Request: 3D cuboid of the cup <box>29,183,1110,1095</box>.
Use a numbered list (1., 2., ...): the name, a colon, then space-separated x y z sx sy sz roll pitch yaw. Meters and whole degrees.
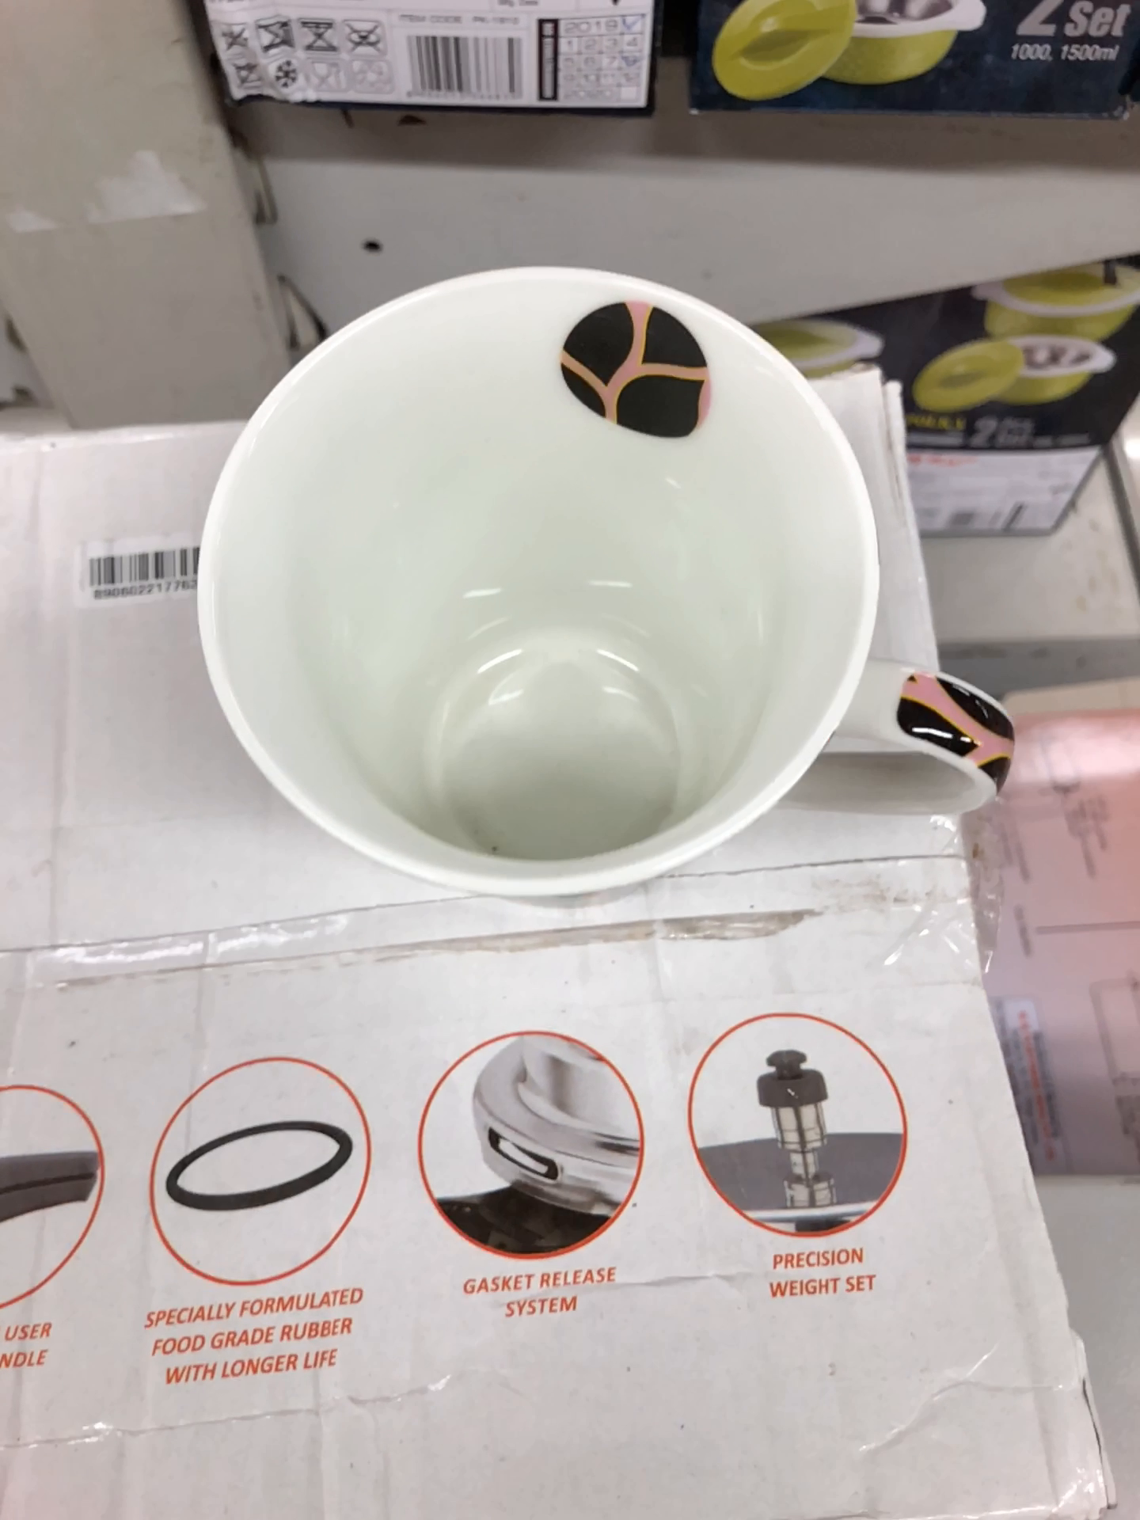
1. cup: 0.005 -0.011 0.186 0.110 0.080 0.090 10 71 5
